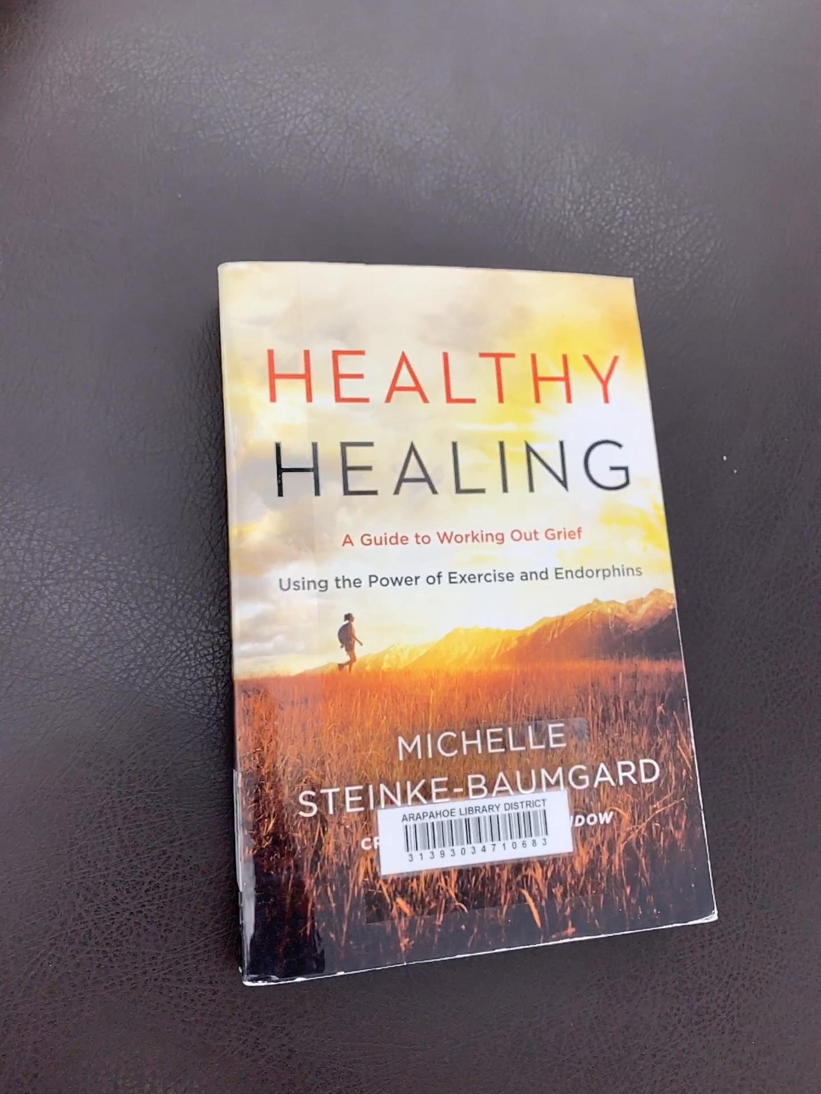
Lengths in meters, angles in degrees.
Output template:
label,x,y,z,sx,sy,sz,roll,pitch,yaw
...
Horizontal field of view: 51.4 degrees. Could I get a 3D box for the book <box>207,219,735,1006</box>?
label,x,y,z,sx,sy,sz,roll,pitch,yaw
book,0.014,0.009,0.259,0.140,0.027,0.212,-1,78,-15
